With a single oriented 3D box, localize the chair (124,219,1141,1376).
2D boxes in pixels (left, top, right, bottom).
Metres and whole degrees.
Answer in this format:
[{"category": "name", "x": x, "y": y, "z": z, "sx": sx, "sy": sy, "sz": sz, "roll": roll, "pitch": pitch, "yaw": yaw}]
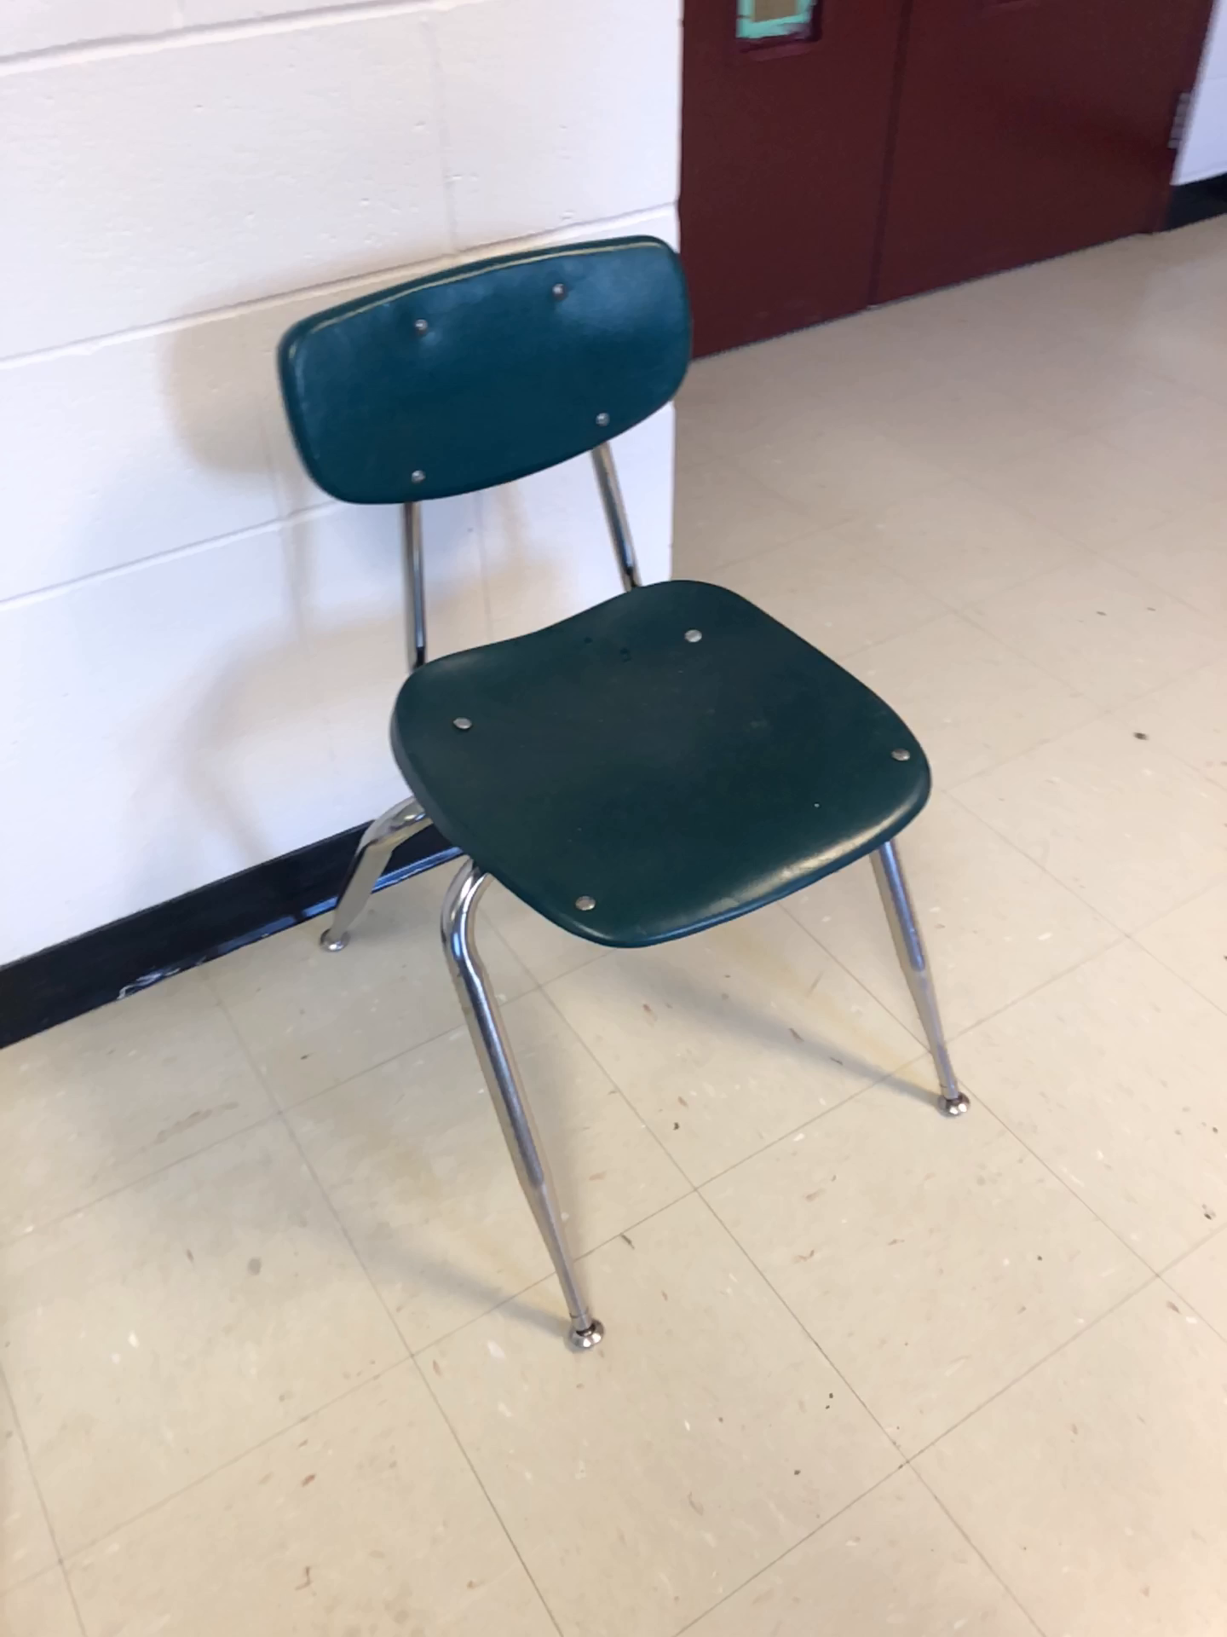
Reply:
[{"category": "chair", "x": -0.010, "y": -0.041, "z": 1.187, "sx": 0.481, "sy": 0.695, "sz": 0.593, "roll": -25, "pitch": 46, "yaw": -23}]
